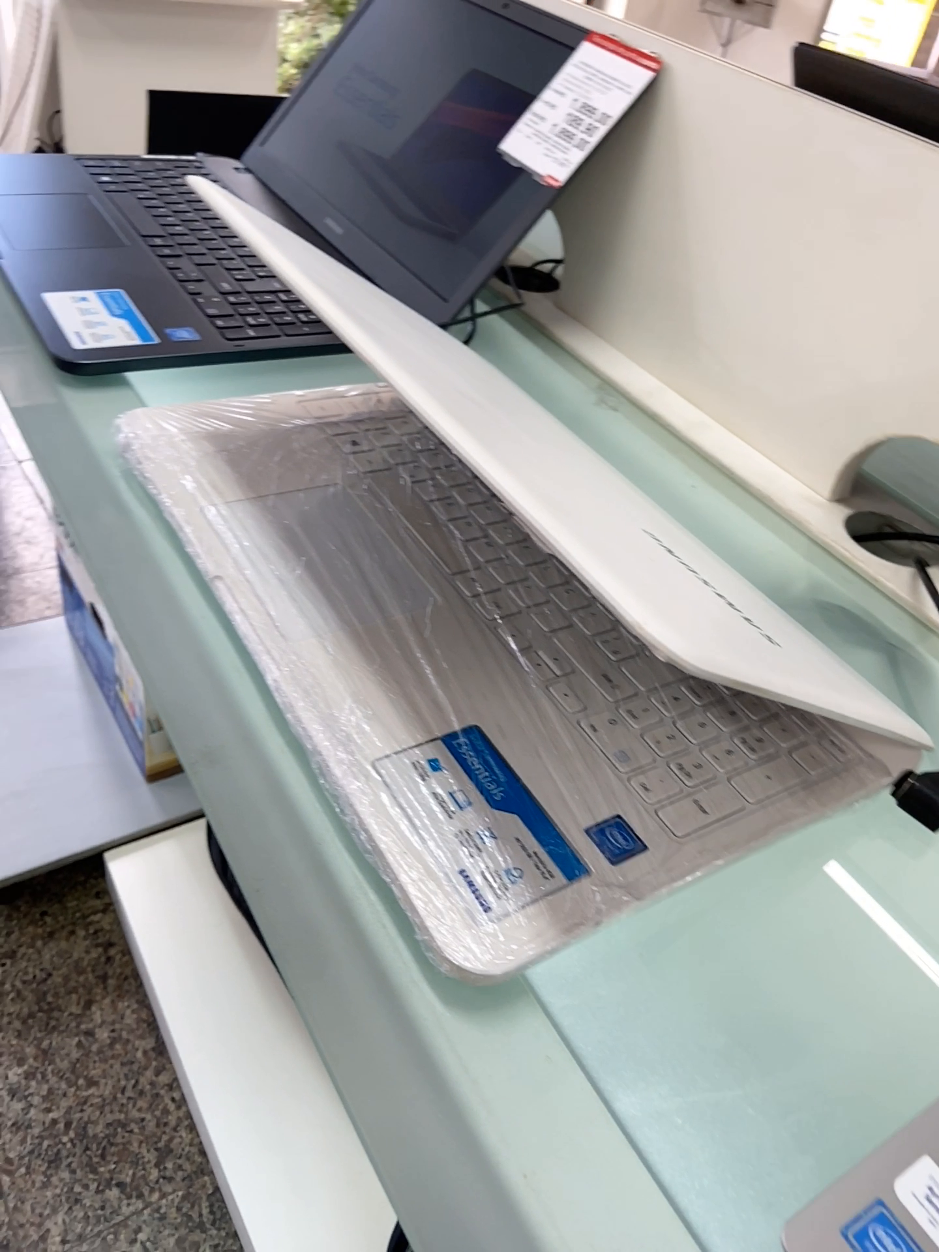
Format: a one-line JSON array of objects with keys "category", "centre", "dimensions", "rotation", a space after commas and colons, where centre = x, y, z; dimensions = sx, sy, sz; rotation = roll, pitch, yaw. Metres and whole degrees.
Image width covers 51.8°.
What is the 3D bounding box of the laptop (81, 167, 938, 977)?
[{"category": "laptop", "centre": [0.011, -0.078, 0.443], "dimensions": [0.248, 0.129, 0.374], "rotation": [-15, 46, -30]}]
